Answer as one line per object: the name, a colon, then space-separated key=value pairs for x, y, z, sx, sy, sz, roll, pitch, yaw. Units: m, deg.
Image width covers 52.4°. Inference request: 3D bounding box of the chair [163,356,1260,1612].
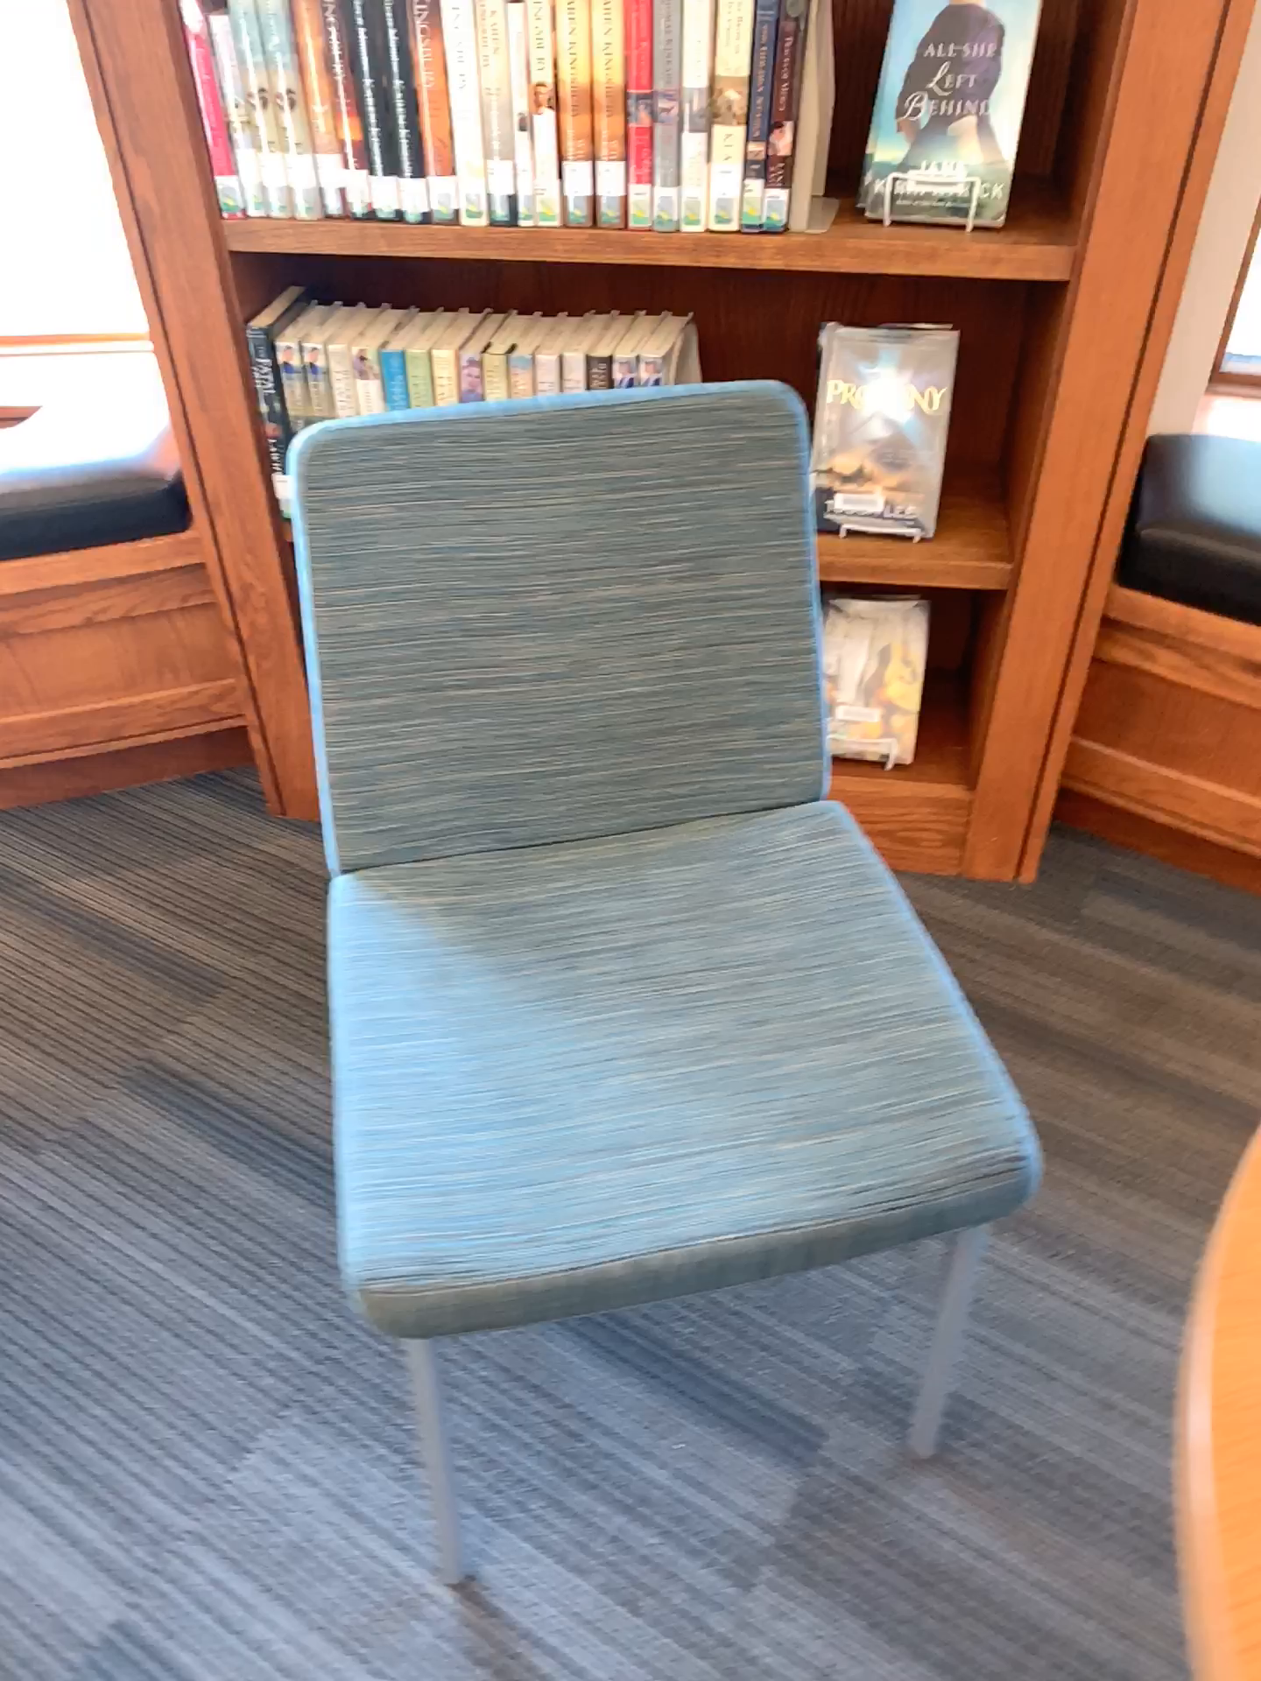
chair: x=0.009 y=0.115 z=1.077 sx=0.550 sy=0.786 sz=0.593 roll=-8 pitch=40 yaw=-9
